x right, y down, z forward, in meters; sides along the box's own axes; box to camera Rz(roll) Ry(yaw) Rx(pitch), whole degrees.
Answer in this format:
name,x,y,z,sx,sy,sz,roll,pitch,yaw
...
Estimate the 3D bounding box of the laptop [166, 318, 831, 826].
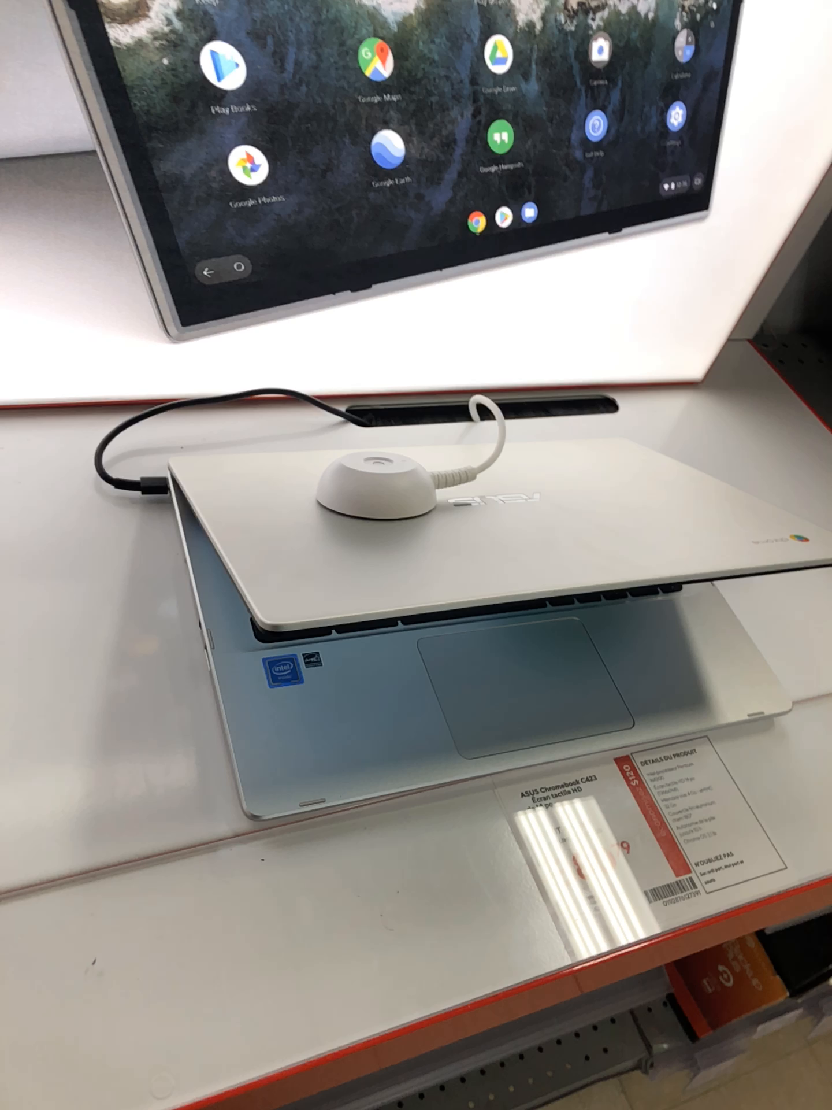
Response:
name,x,y,z,sx,sy,sz,roll,pitch,yaw
laptop,0.050,-0.016,0.485,0.317,0.100,0.225,-5,49,-23
